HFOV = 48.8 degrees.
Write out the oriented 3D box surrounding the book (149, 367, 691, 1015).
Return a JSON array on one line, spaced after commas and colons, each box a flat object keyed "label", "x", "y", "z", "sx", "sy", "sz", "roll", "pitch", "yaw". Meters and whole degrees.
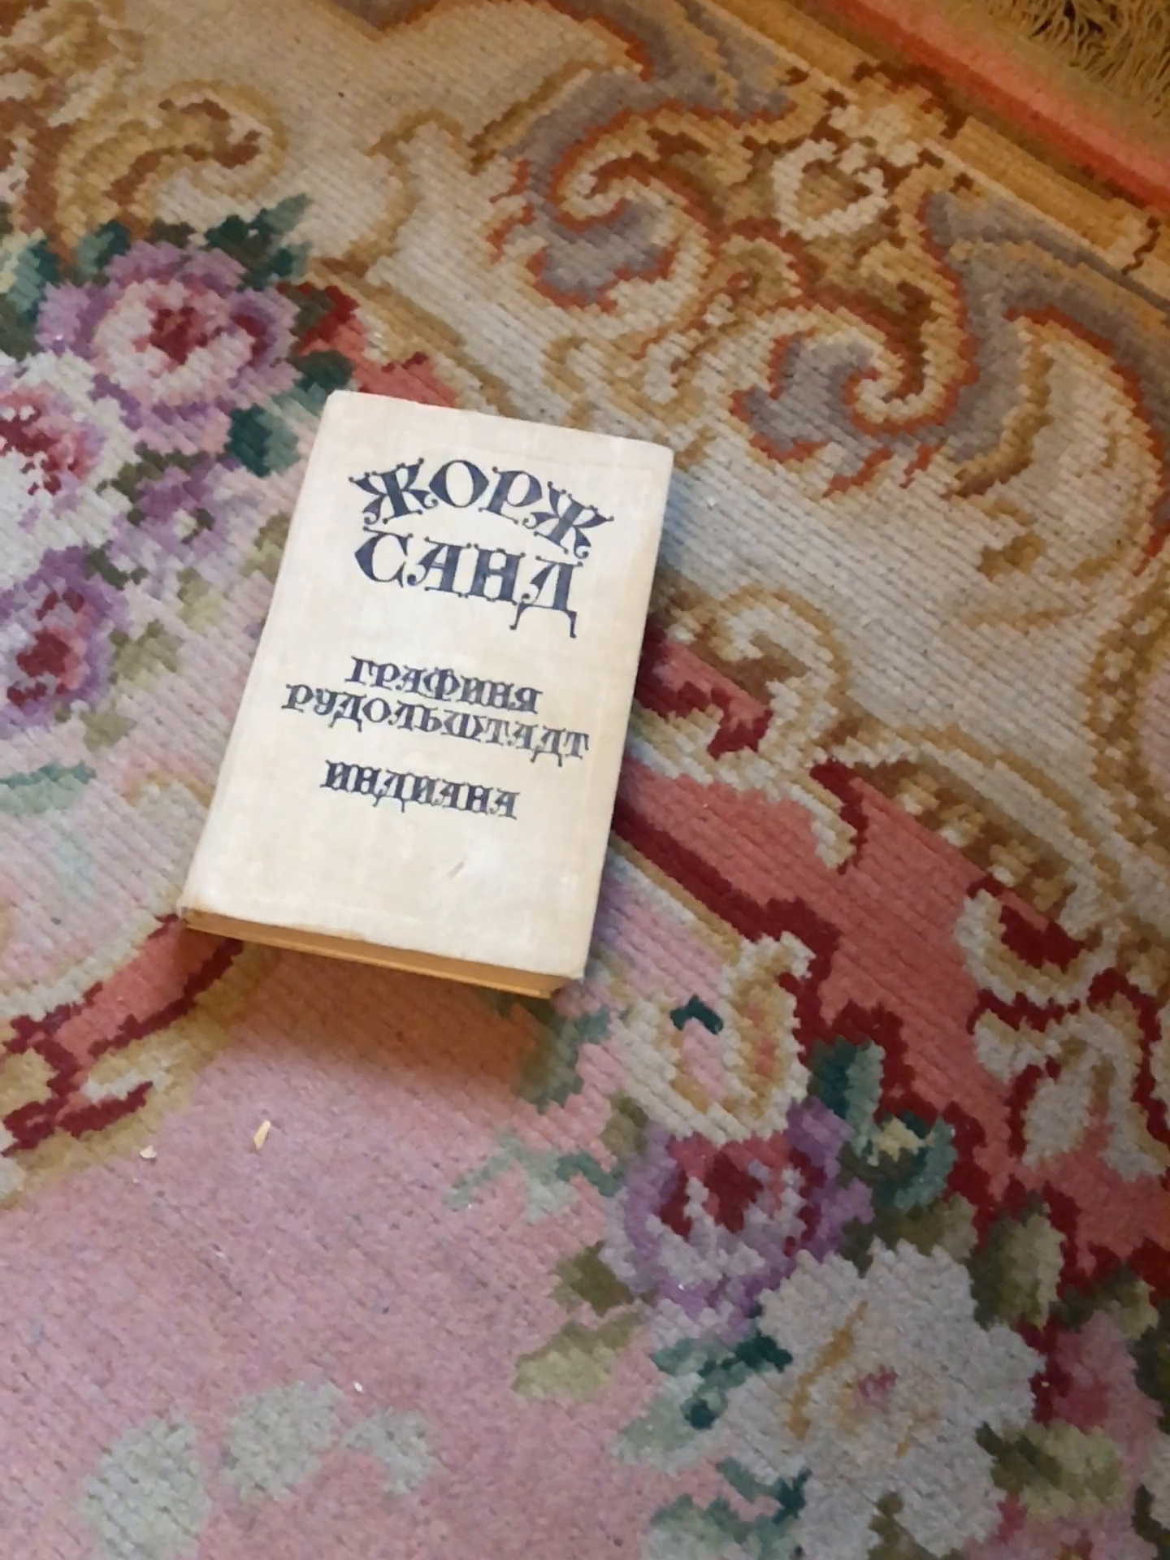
[{"label": "book", "x": -0.053, "y": -0.037, "z": 0.493, "sx": 0.150, "sy": 0.057, "sz": 0.221, "roll": 11, "pitch": 70, "yaw": 2}]
